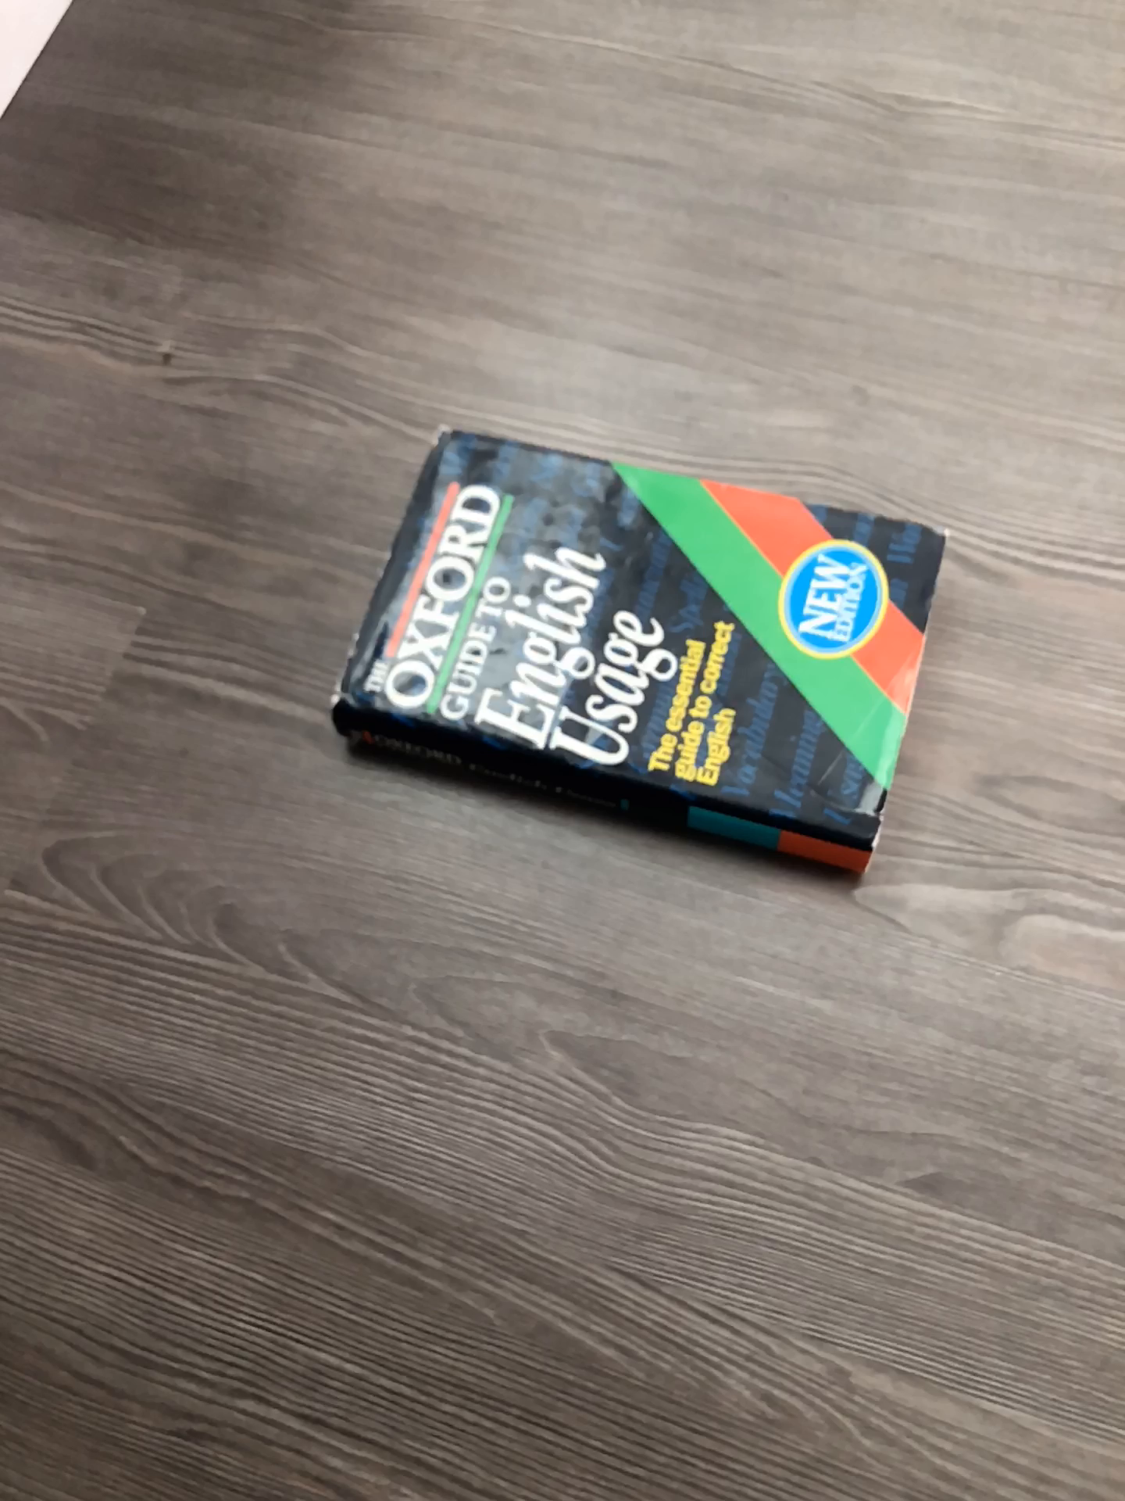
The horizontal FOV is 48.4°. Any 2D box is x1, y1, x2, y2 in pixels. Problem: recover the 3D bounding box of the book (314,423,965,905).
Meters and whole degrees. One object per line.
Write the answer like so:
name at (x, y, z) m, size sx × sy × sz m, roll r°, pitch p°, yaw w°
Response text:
book at (0.034, -0.042, 0.519) m, size 0.229 × 0.035 × 0.150 m, roll 14°, pitch 70°, yaw 10°
